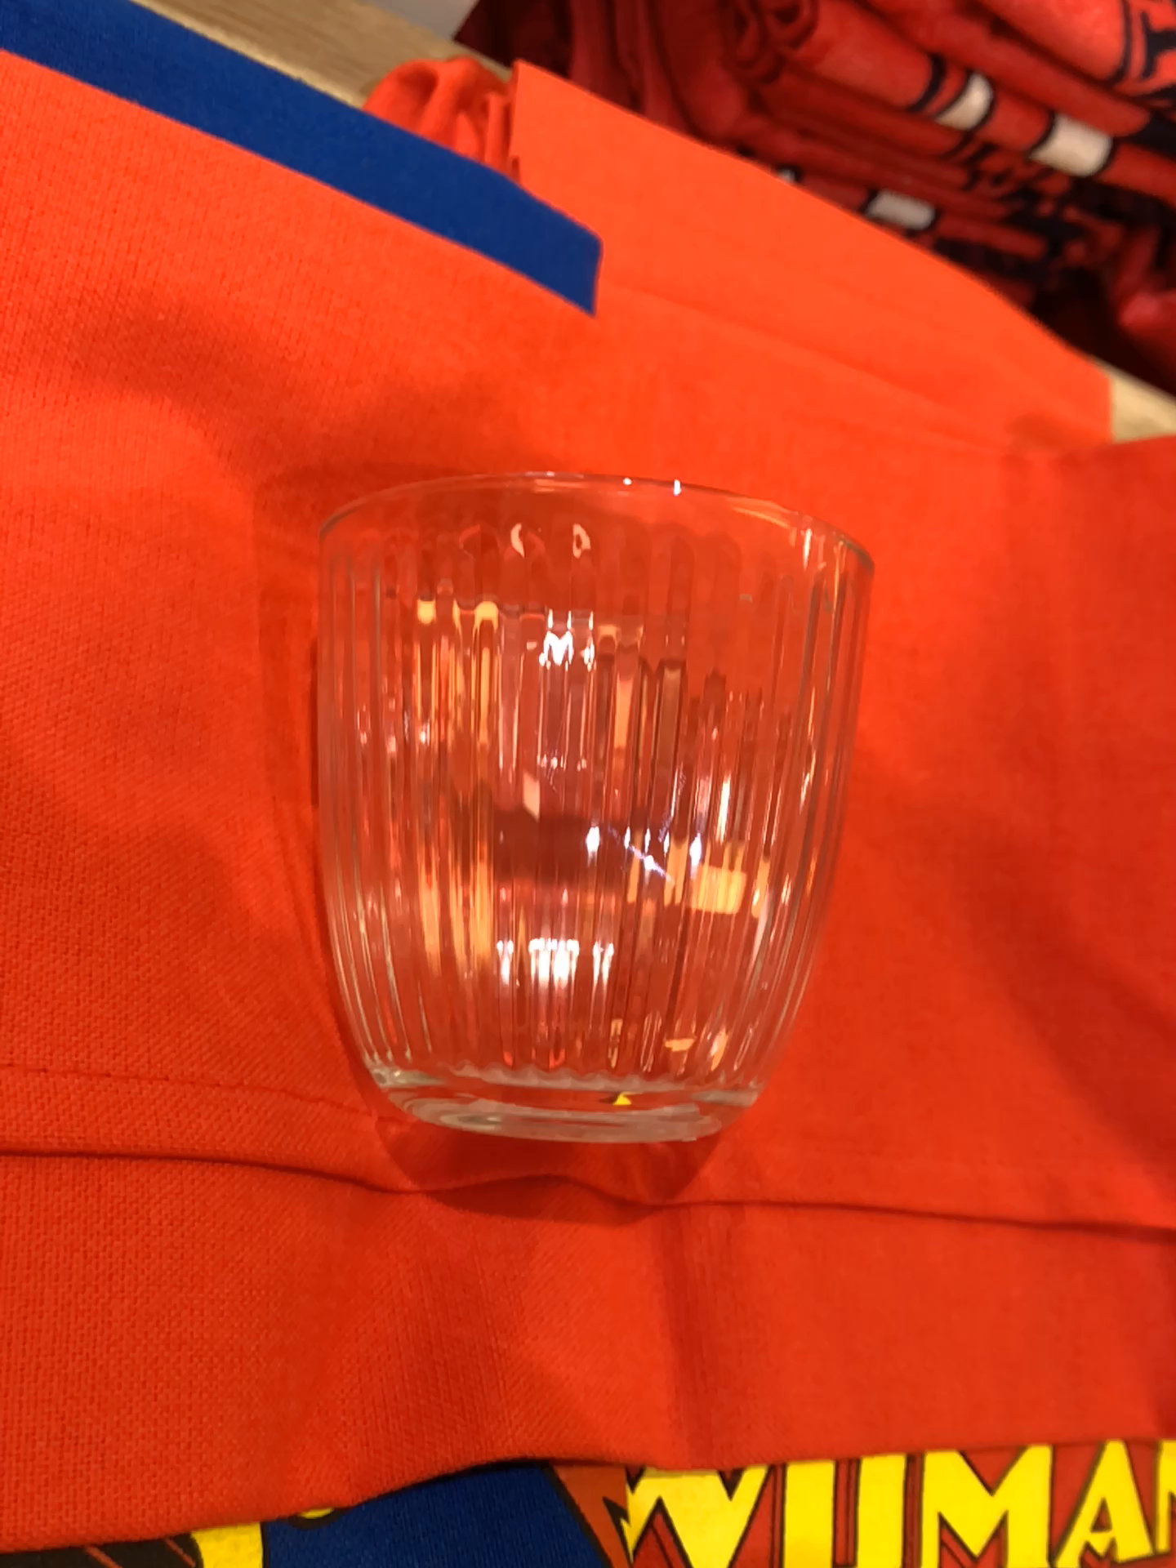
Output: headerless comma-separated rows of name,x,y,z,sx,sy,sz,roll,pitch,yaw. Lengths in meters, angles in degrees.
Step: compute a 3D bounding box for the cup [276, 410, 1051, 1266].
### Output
cup,0.010,0.010,0.185,0.080,0.060,0.090,9,84,-31
